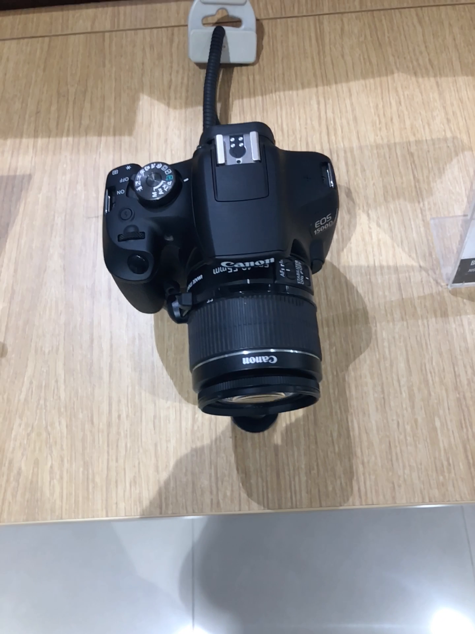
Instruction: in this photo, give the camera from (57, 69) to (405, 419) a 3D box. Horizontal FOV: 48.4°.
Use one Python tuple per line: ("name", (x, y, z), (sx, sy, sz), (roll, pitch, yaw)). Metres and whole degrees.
("camera", (-0.003, -0.030, 0.264), (0.130, 0.090, 0.140), (-3, 69, 2))
